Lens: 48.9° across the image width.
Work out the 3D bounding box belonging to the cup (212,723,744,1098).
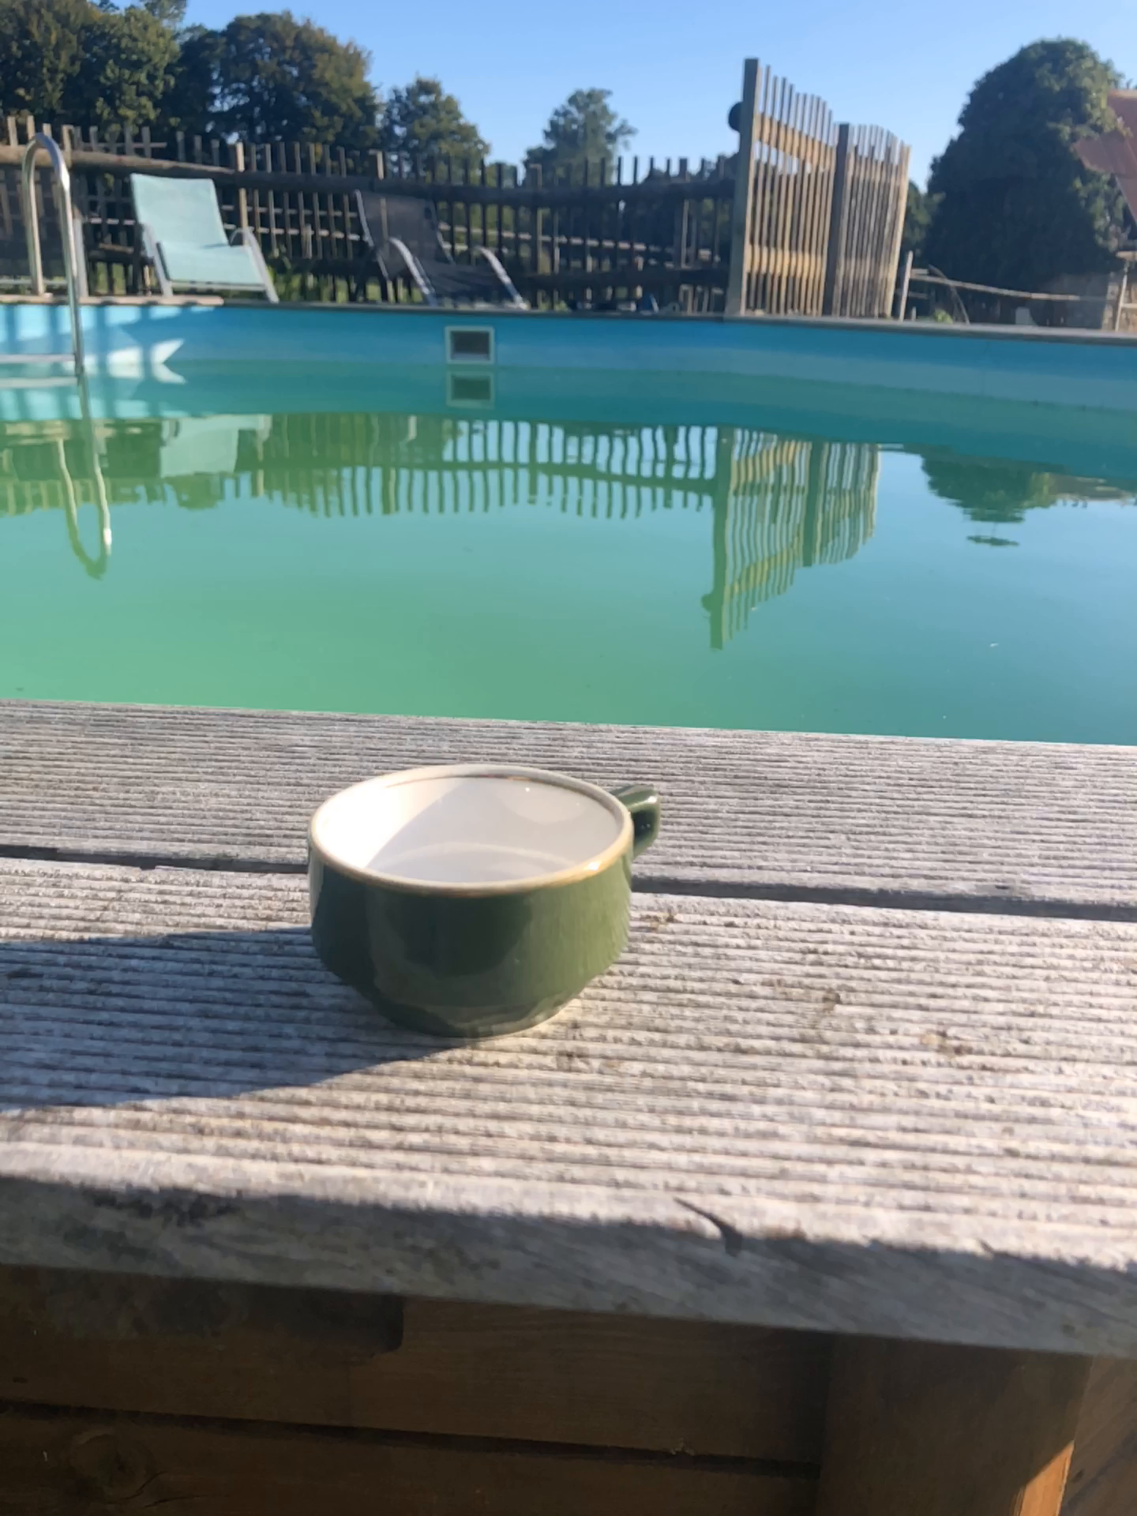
[{"bbox_3d":[-0.021,0.029,0.304,0.095,0.038,0.083,-18,26,-41],"label":"cup"}]
